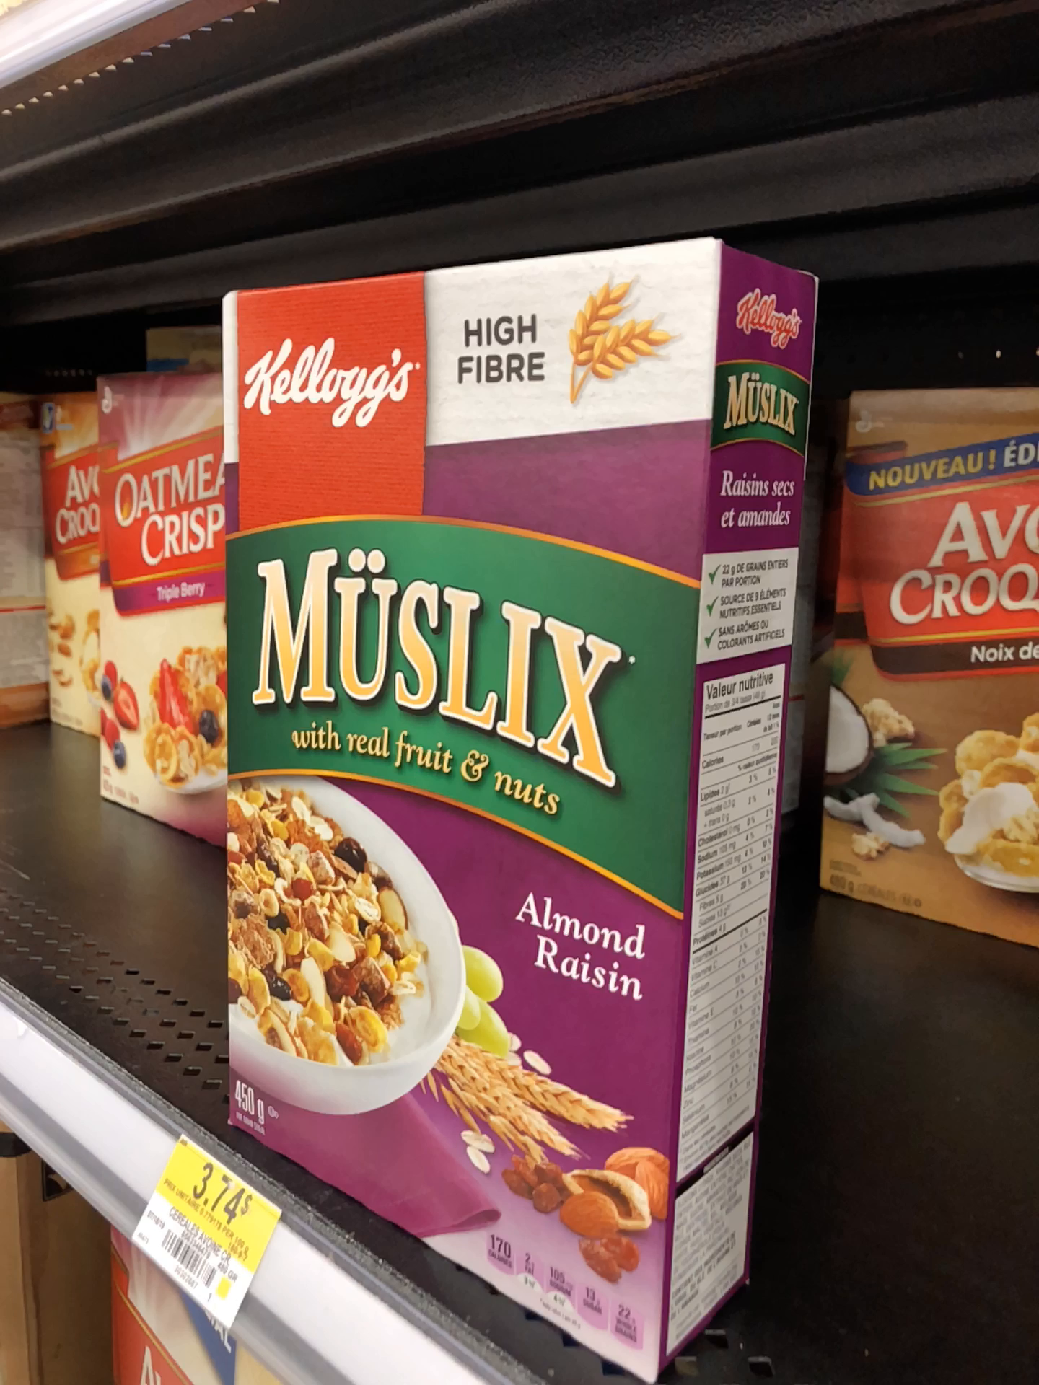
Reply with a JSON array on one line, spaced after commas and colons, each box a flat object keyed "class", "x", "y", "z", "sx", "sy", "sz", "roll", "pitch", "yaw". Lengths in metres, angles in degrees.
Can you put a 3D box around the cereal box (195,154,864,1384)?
[{"class": "cereal box", "x": -0.011, "y": 0.012, "z": 0.312, "sx": 0.170, "sy": 0.259, "sz": 0.060, "roll": 11, "pitch": 14, "yaw": 40}]
